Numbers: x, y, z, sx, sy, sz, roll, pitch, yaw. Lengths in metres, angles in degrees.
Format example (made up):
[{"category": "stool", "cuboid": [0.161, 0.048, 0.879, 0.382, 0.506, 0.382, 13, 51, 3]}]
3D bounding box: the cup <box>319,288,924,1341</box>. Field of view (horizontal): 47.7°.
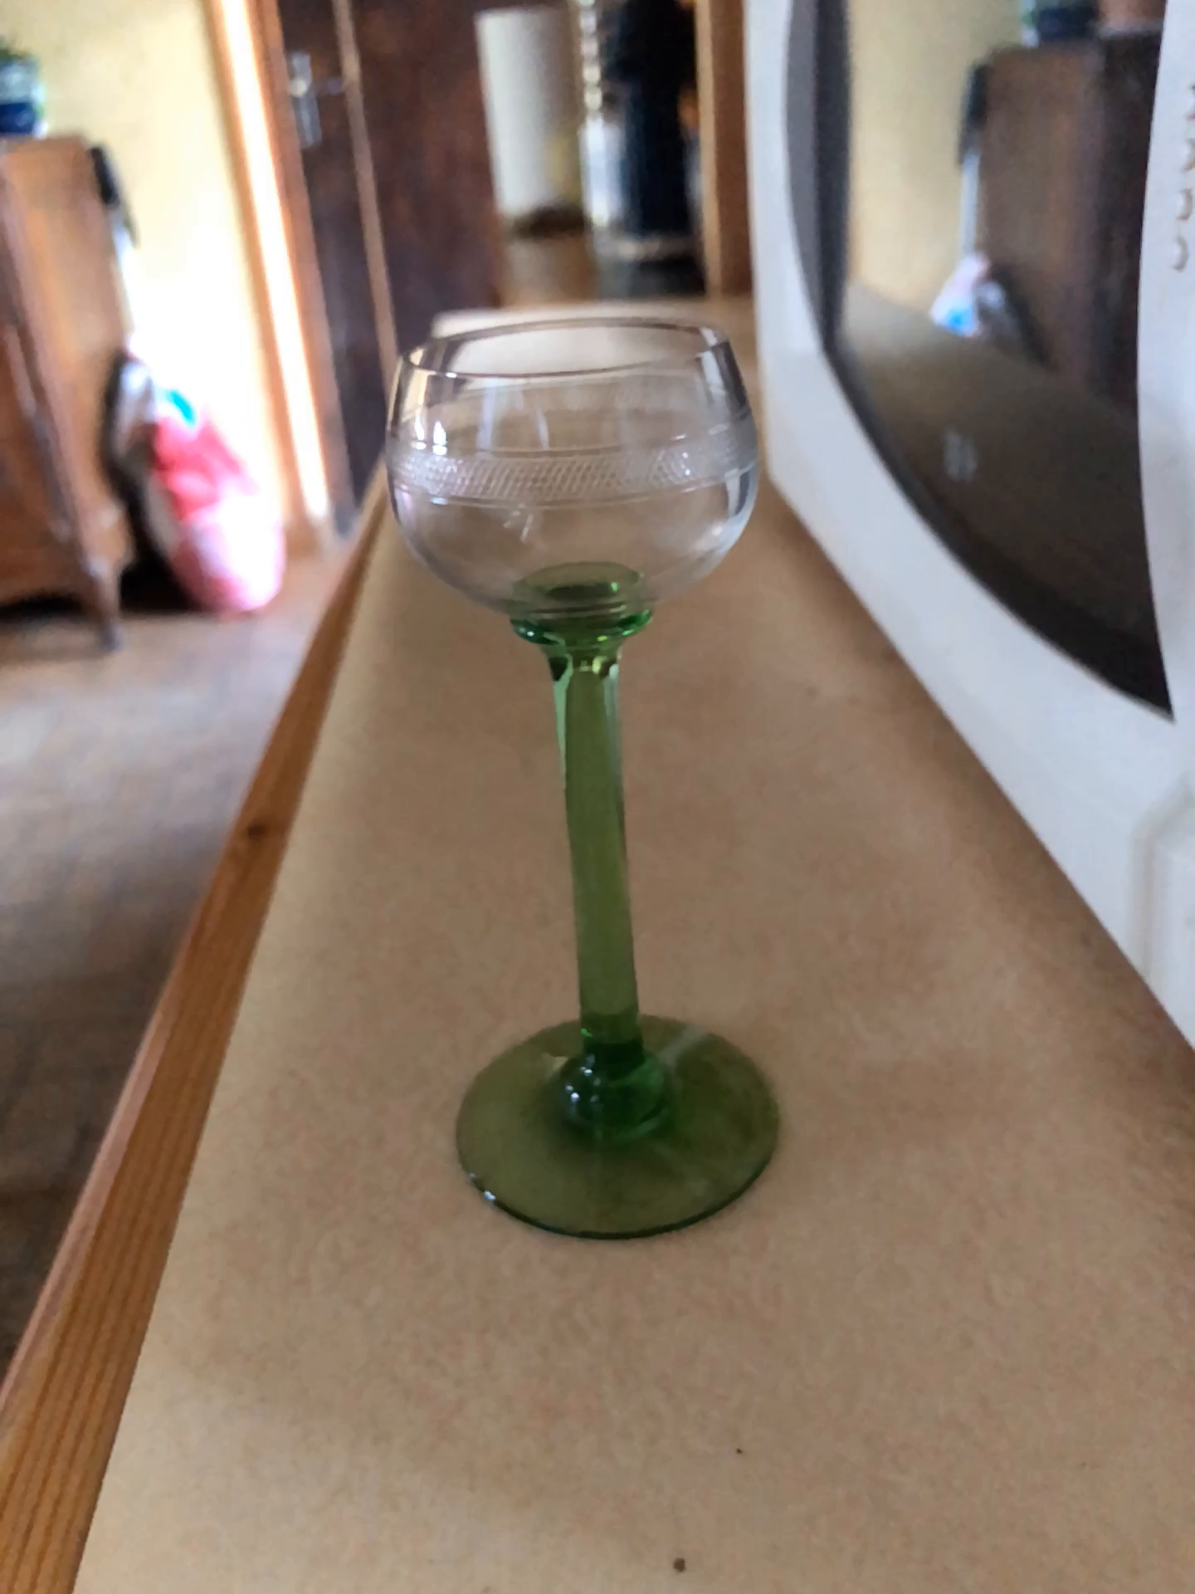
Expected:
[{"category": "cup", "cuboid": [0.003, 0.002, 0.195, 0.060, 0.129, 0.060, -4, 27, 2]}]
